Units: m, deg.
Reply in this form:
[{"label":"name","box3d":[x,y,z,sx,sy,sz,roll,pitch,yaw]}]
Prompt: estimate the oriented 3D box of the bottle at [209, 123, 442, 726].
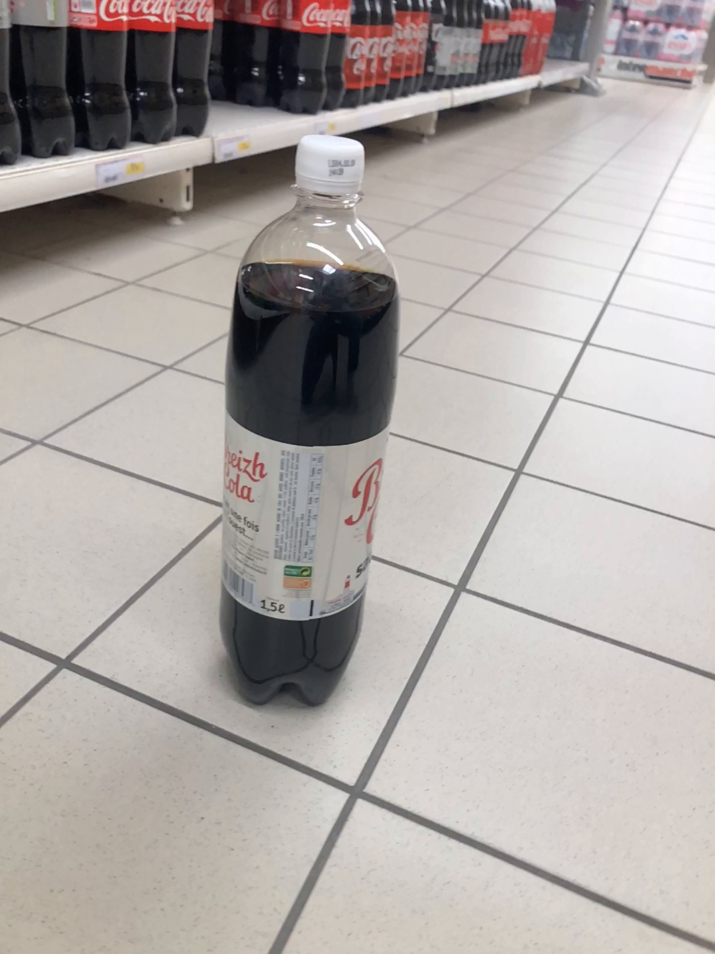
[{"label":"bottle","box3d":[-0.031,-0.013,0.439,0.090,0.318,0.101,3,30,-7]}]
